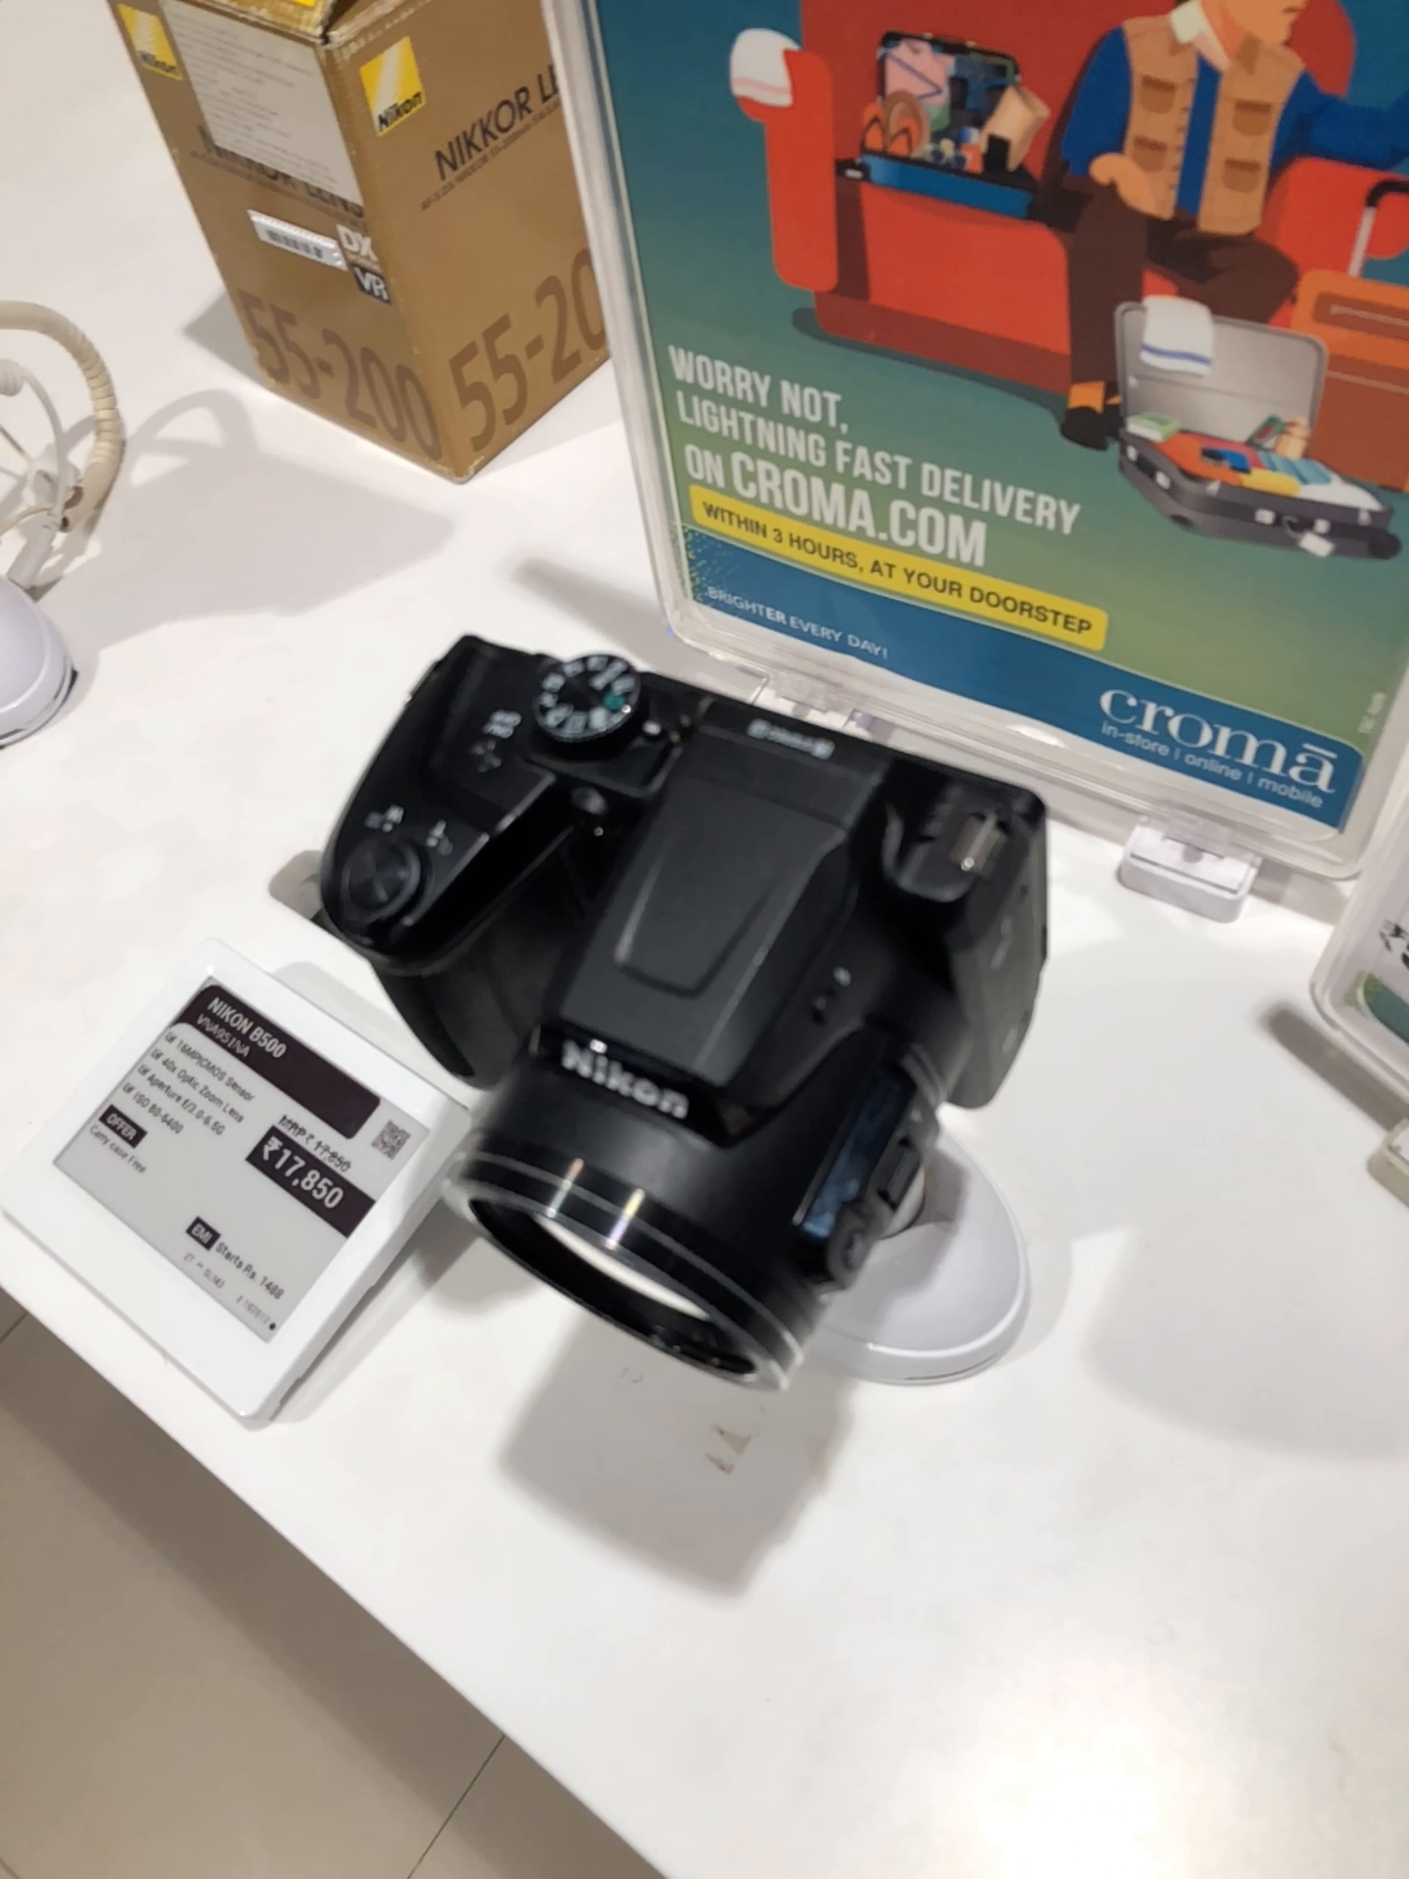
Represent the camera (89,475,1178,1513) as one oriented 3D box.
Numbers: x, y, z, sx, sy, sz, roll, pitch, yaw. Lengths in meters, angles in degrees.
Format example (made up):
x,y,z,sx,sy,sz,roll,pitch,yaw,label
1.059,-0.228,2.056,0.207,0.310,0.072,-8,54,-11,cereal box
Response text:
x,y,z,sx,sy,sz,roll,pitch,yaw,label
-0.004,0.003,0.239,0.110,0.070,0.110,20,62,20,camera
